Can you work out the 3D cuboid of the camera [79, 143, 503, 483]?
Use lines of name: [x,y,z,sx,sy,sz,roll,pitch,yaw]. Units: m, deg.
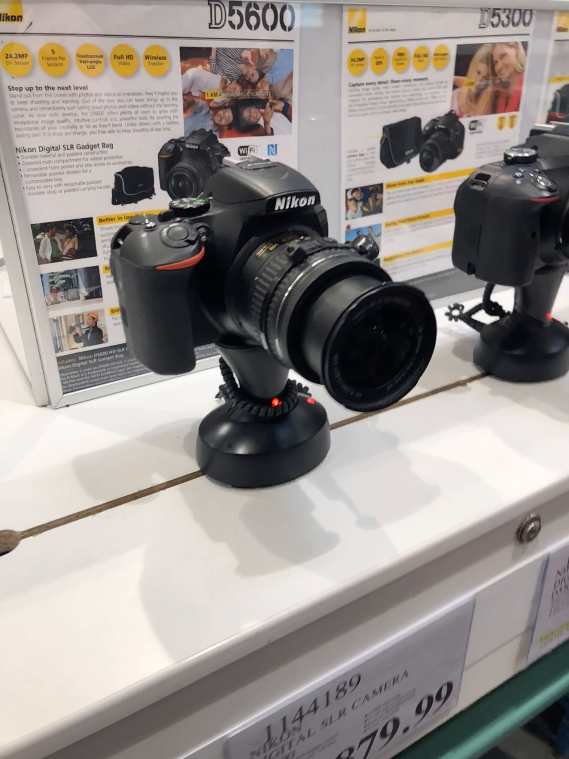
camera: [-0.008,-0.052,0.319,0.140,0.099,0.161,-15,31,-25]
